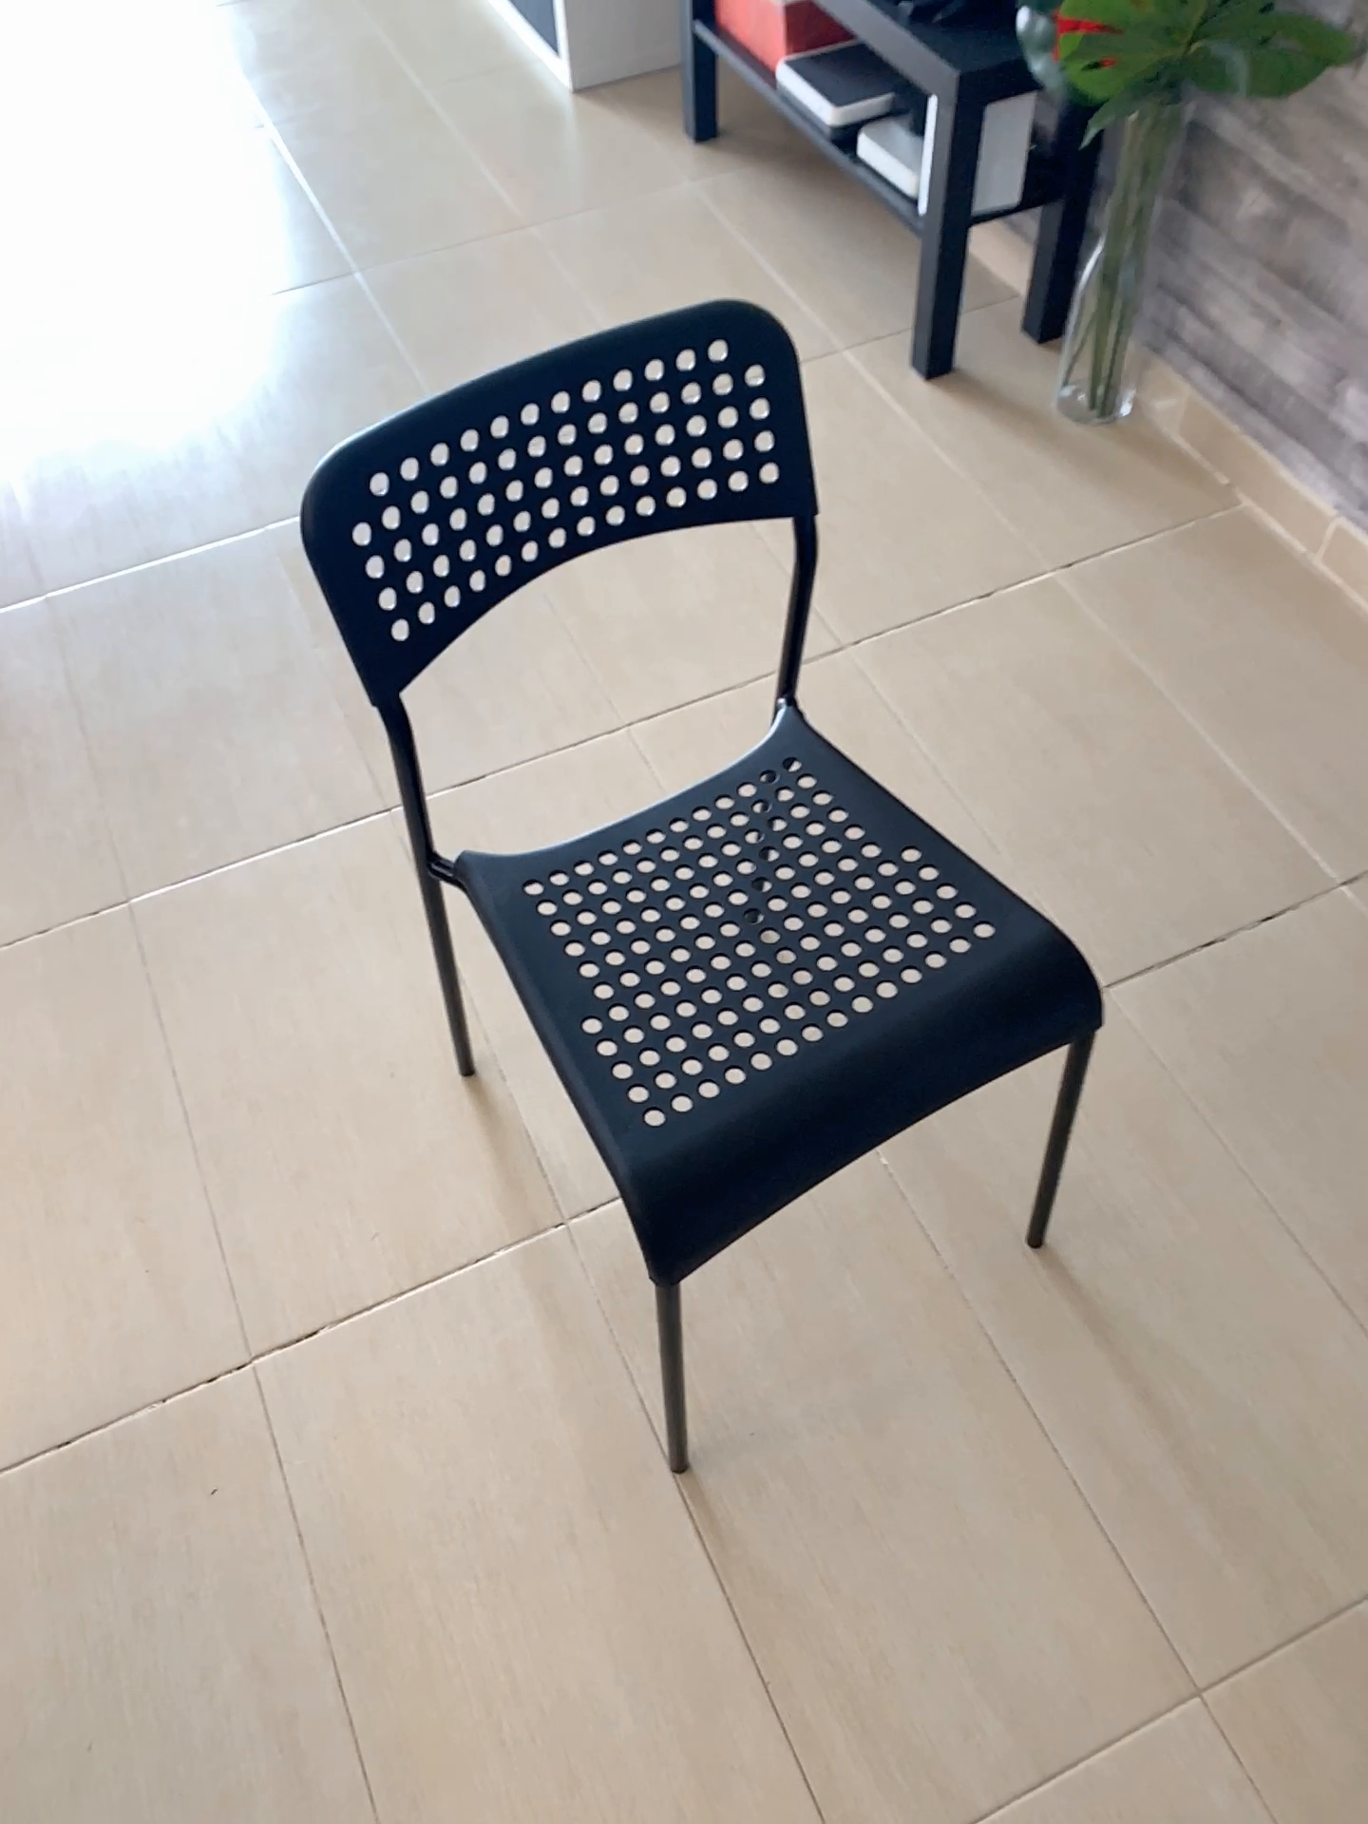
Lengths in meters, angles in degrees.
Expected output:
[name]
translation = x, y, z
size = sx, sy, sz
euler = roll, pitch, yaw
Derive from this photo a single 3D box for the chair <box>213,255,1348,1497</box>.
[chair]
translation = 0.037, 0.013, 1.043
size = 0.420, 0.687, 0.492
euler = -27, 57, -16
